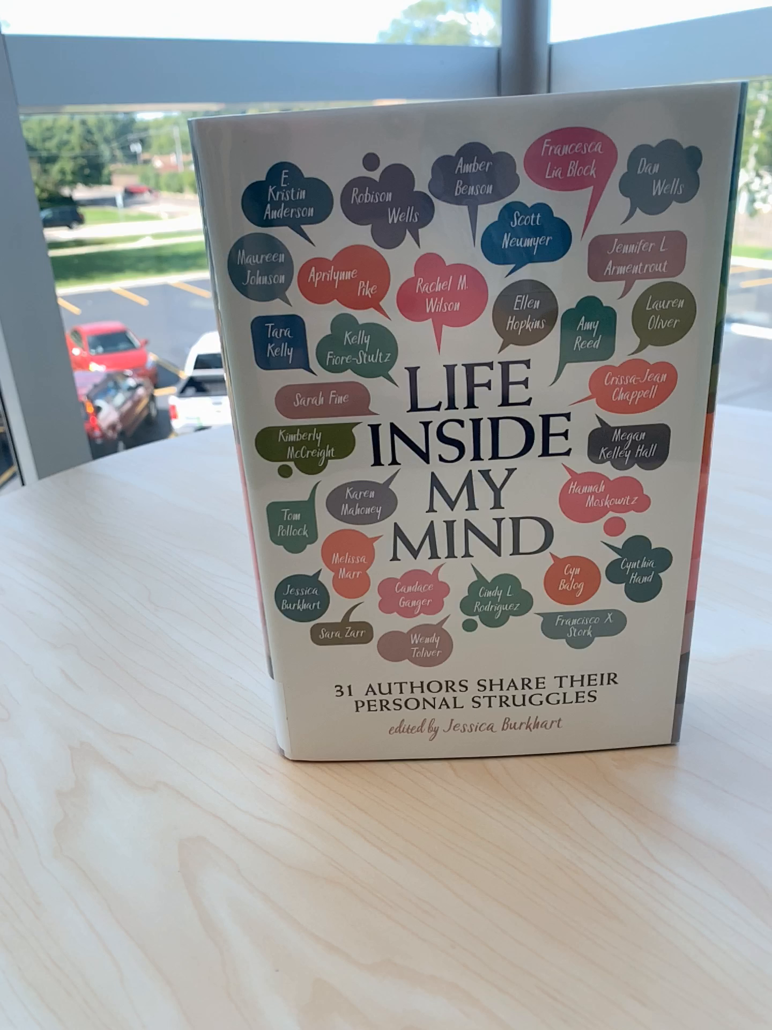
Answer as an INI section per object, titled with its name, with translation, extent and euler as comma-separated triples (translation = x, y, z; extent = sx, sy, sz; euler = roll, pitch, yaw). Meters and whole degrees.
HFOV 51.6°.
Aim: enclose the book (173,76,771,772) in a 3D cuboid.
[book]
translation = 0.027, -0.013, 0.259
extent = 0.150, 0.218, 0.030
euler = -3, 26, 1
